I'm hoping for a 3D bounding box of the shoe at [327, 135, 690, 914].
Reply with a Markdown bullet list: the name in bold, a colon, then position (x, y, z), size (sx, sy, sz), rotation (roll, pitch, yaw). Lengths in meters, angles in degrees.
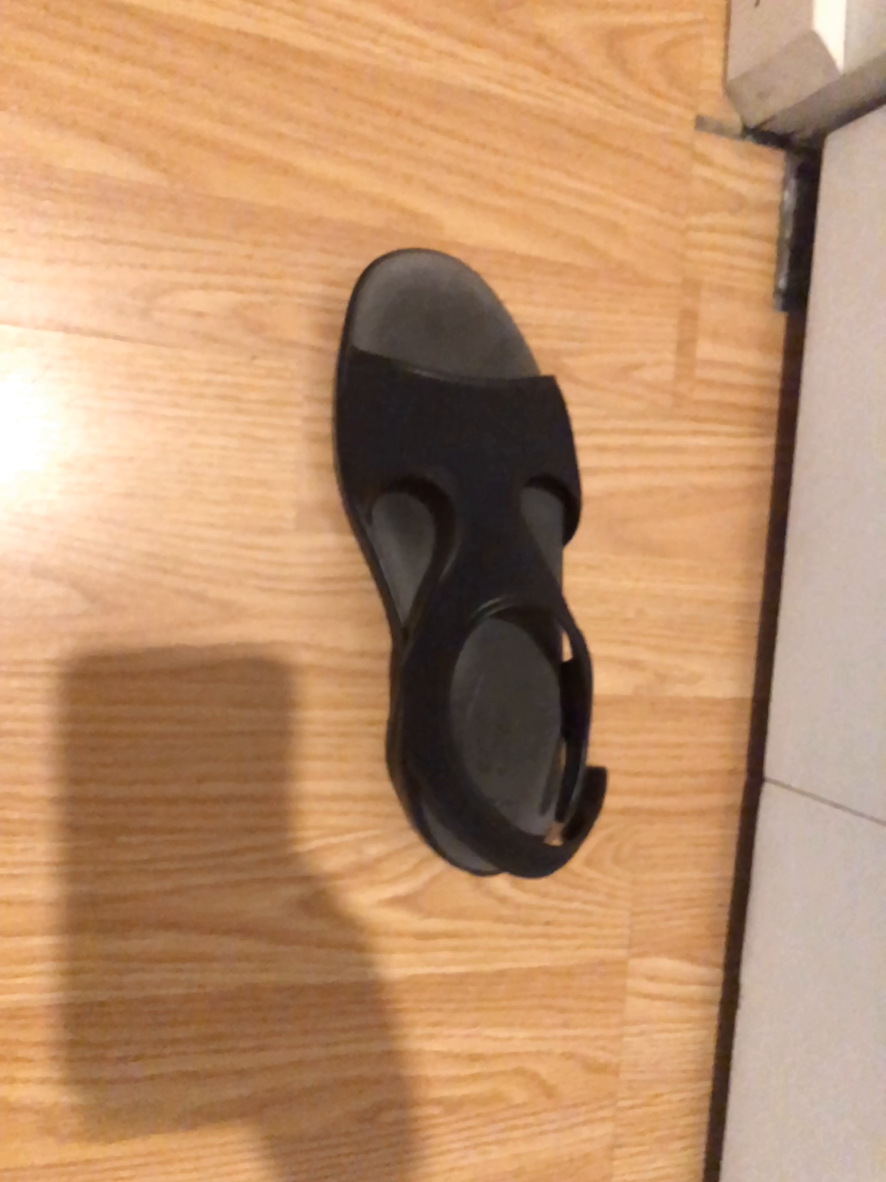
- **shoe**: position (0.022, -0.024, 0.382), size (0.100, 0.100, 0.250), rotation (-4, 95, -19)
